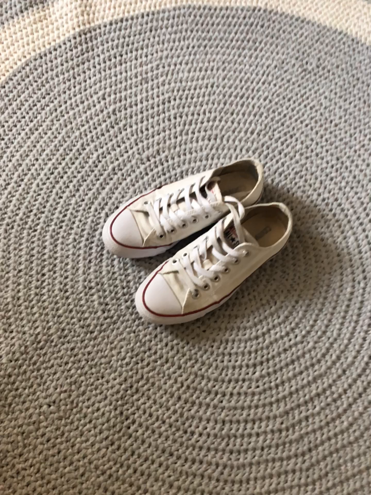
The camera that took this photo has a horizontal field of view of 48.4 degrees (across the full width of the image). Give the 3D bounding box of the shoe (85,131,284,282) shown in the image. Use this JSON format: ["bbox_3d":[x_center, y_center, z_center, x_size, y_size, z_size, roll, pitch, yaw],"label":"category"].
[{"bbox_3d":[-0.001,-0.058,0.585,0.247,0.070,0.100,-26,75,-9],"label":"shoe"}]

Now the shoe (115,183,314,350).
[{"bbox_3d":[0.038,0.025,0.559,0.240,0.070,0.100,-32,76,-11],"label":"shoe"}]
